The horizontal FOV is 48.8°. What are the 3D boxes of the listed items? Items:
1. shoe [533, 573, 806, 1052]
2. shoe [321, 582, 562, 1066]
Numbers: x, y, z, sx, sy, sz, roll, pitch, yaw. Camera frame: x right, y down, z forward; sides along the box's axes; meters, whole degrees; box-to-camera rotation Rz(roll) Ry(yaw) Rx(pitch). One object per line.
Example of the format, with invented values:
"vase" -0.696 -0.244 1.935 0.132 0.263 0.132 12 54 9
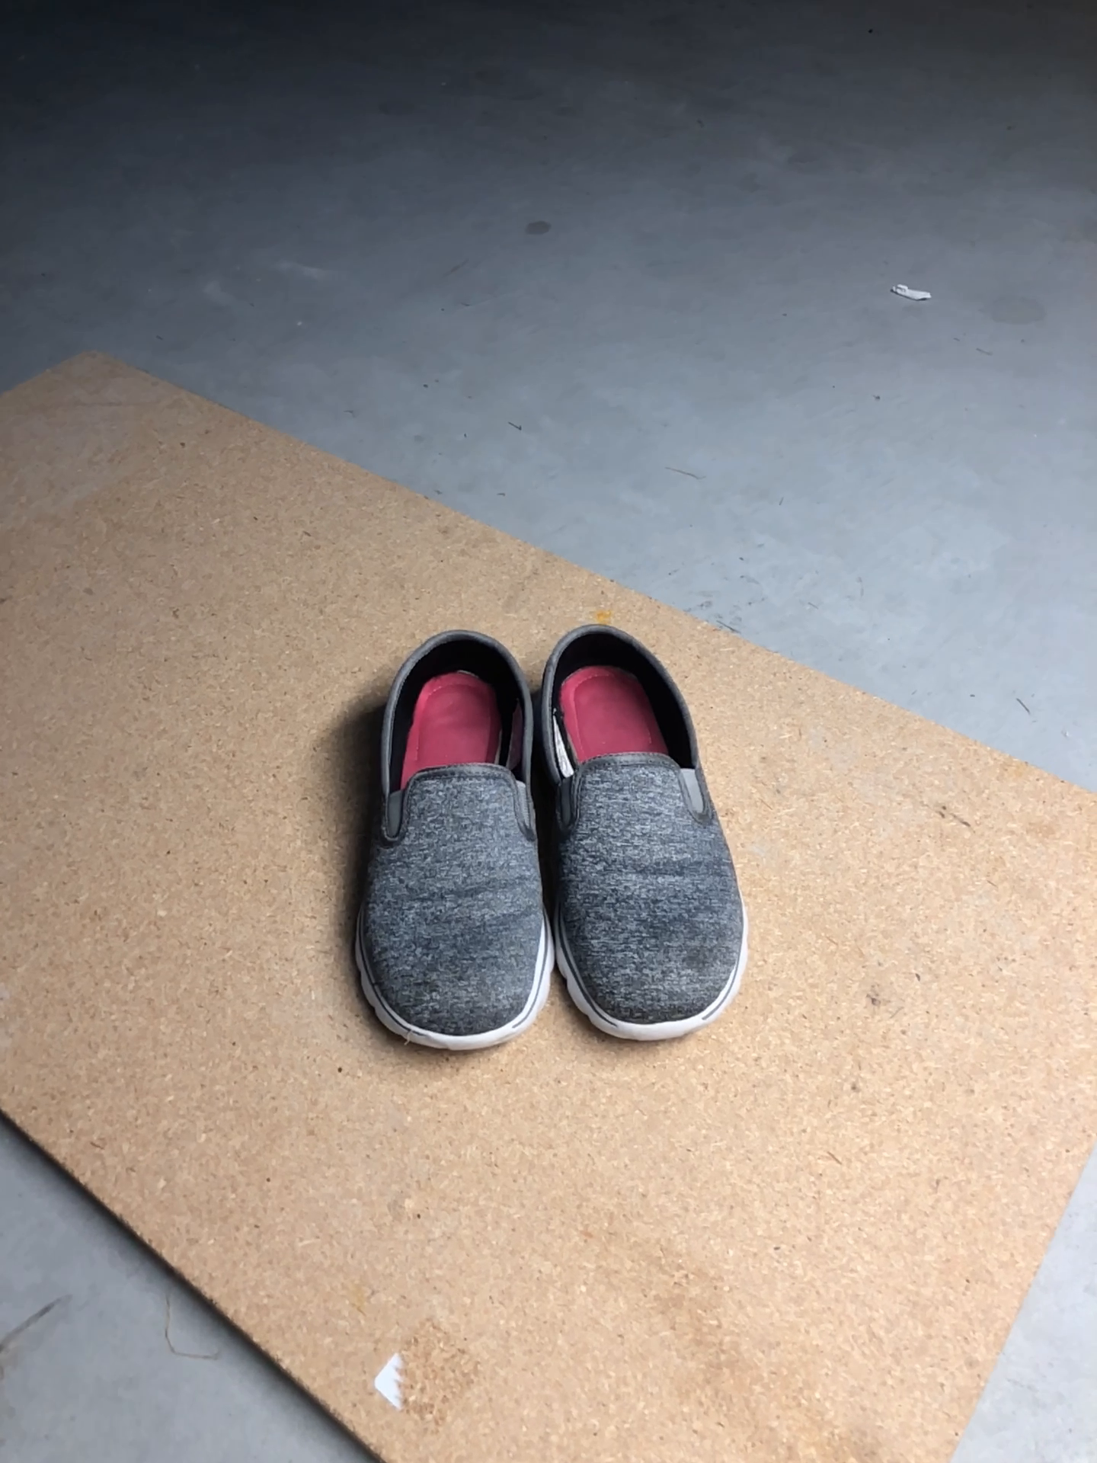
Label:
"shoe" 0.051 0.030 0.623 0.100 0.073 0.251 -4 47 -2
"shoe" -0.053 0.035 0.616 0.100 0.070 0.251 -4 47 -2
